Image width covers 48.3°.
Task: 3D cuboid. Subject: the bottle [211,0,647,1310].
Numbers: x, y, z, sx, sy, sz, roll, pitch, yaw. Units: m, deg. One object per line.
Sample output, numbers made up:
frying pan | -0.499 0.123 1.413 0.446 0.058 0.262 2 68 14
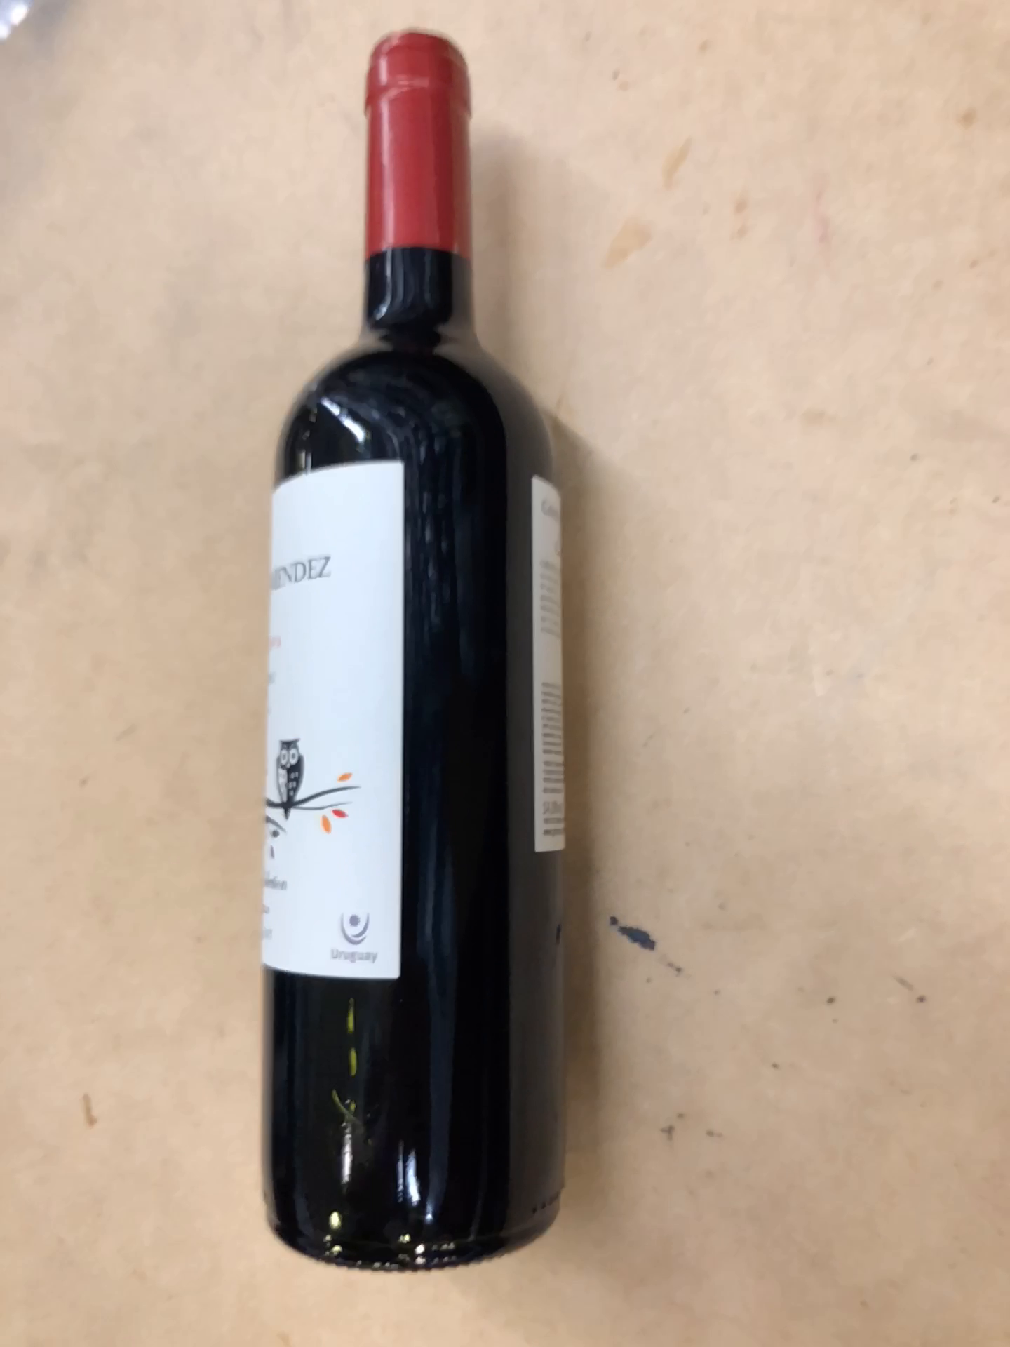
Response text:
bottle | -0.017 -0.030 0.271 0.080 0.060 0.310 -3 83 21
